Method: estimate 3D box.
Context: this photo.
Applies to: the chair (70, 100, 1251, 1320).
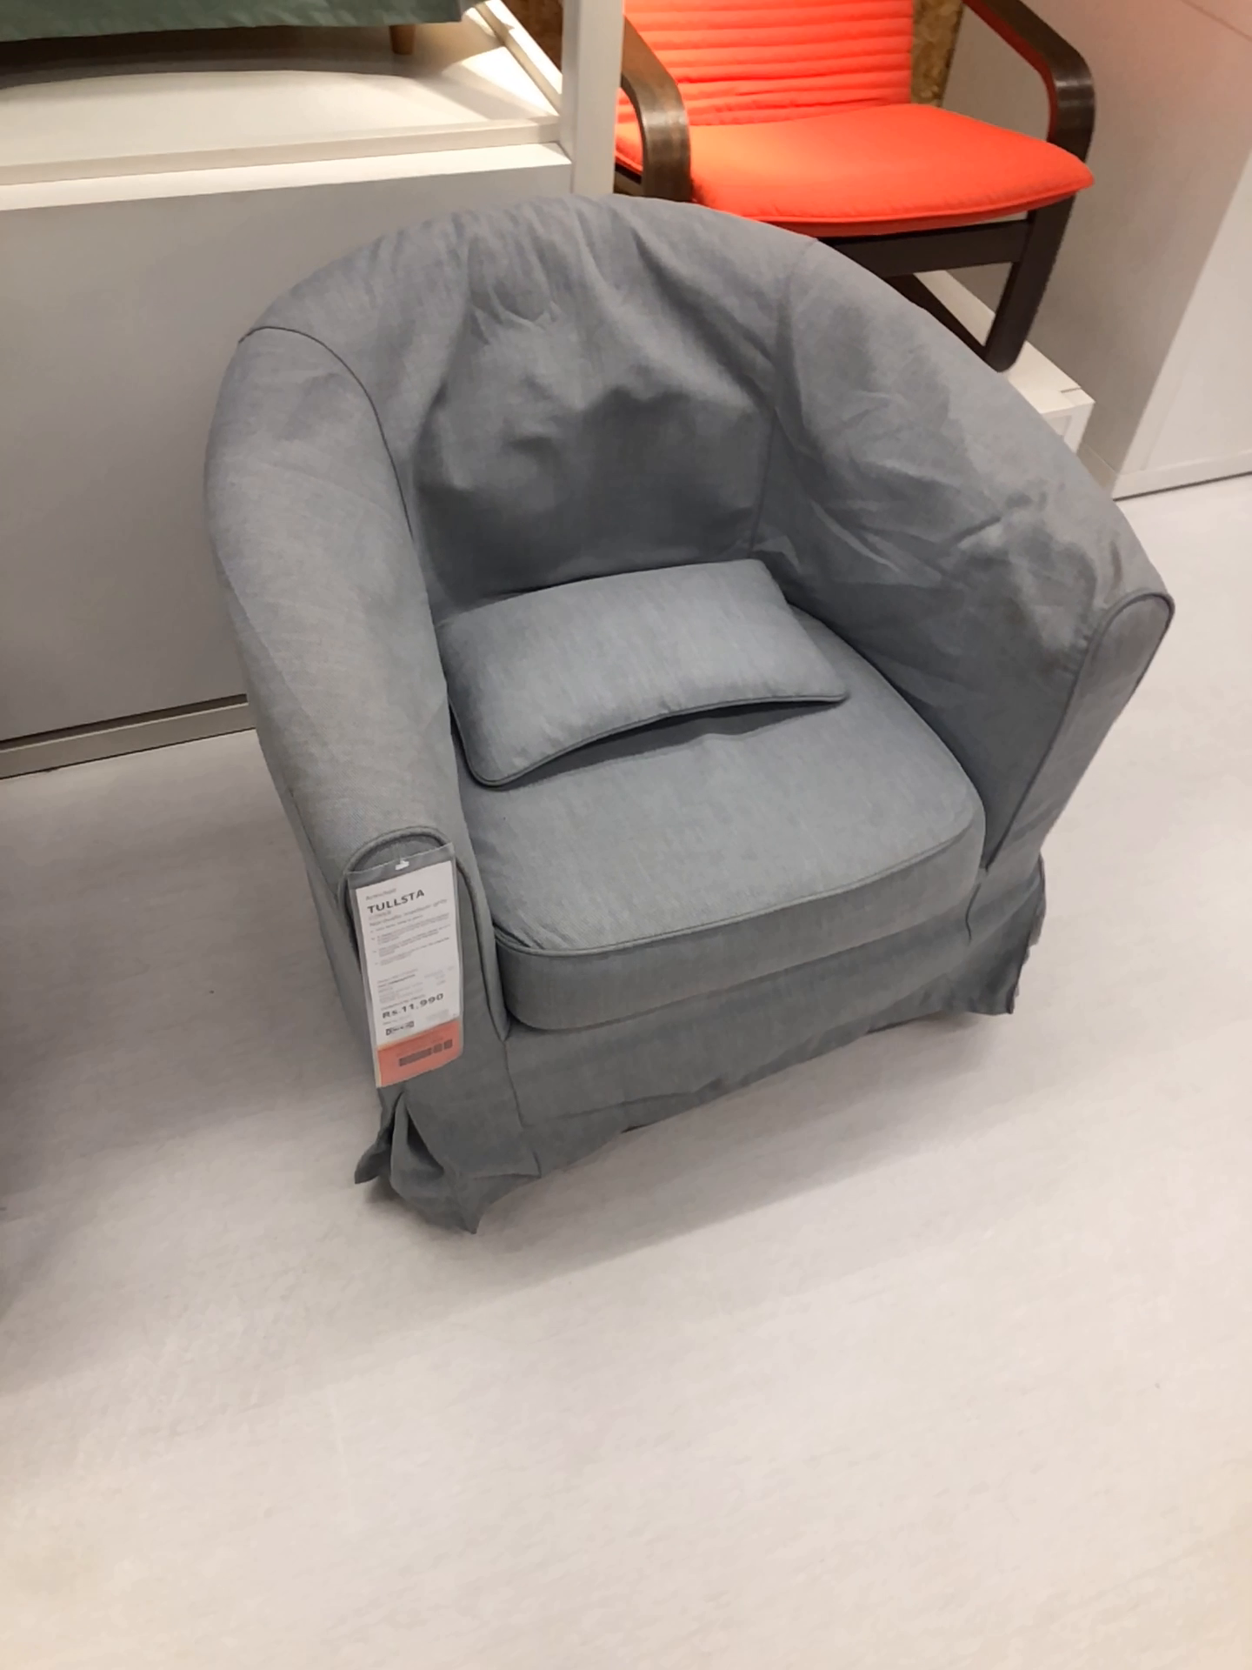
[{"bbox_3d":[0.036,-0.154,1.419,0.871,0.795,0.723,-17,52,-19],"label":"chair"}]
